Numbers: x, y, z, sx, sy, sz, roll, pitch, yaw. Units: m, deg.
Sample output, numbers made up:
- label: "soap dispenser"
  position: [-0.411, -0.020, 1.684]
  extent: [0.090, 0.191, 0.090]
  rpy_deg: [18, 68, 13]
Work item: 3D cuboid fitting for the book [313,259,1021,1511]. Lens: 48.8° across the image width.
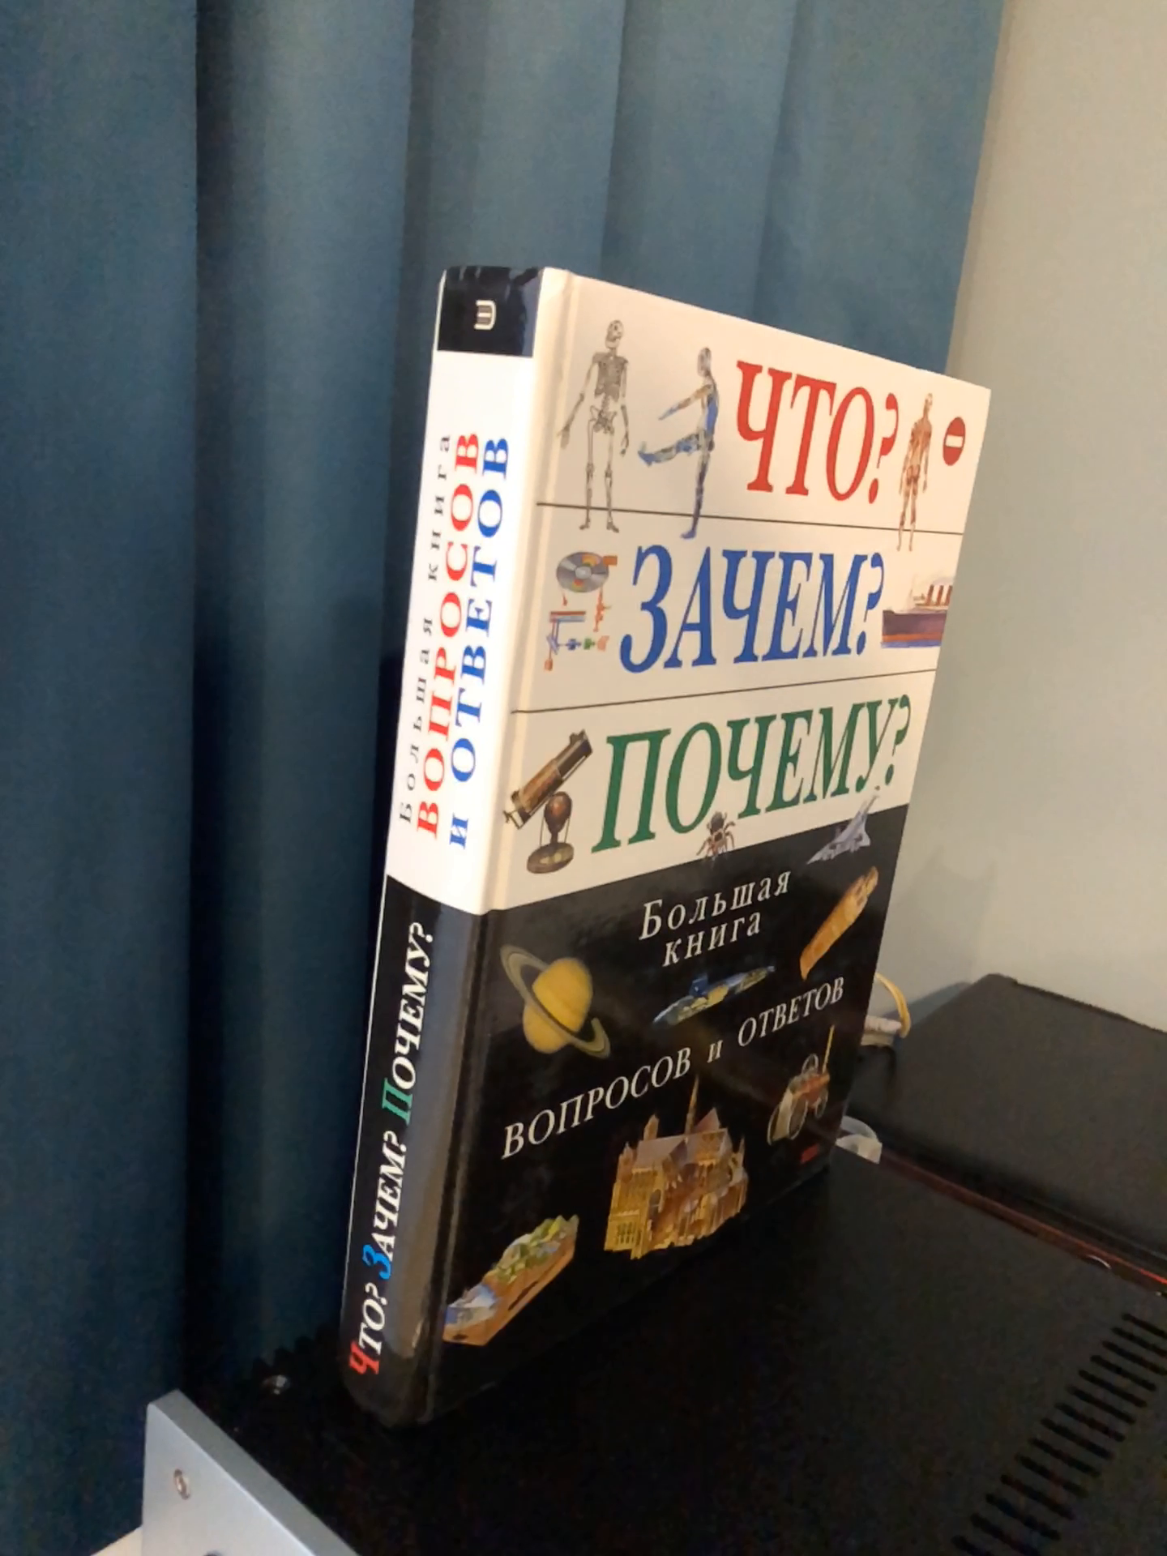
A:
- label: "book"
  position: [0.035, 0.025, 0.389]
  extent: [0.042, 0.301, 0.225]
  rpy_deg: [19, 18, 37]
